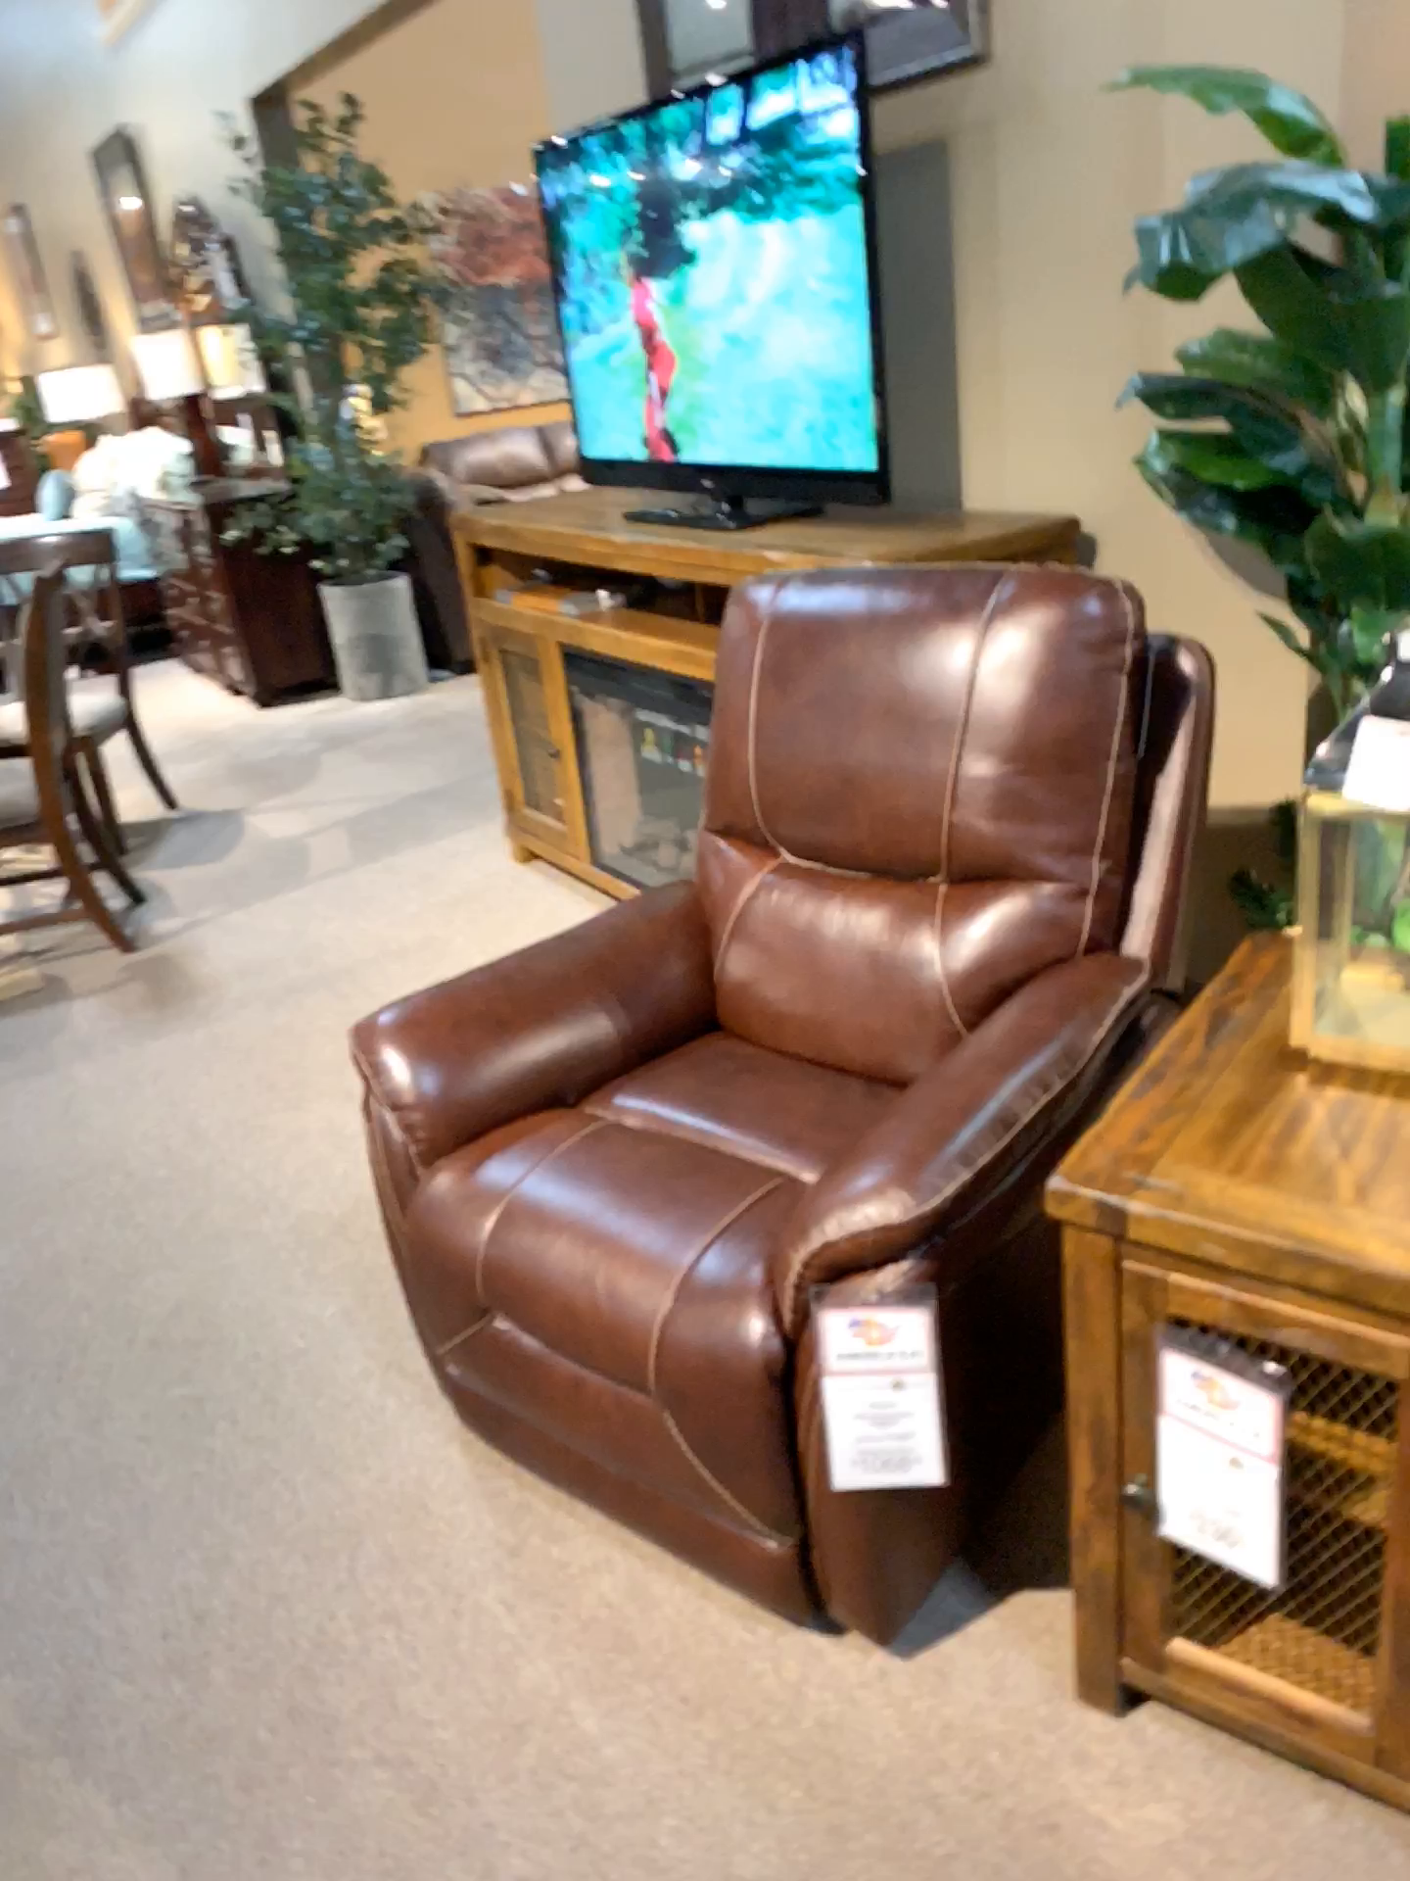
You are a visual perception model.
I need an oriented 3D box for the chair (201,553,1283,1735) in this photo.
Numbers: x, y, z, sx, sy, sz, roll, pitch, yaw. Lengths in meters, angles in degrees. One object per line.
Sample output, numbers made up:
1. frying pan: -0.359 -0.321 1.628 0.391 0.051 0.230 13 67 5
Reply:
1. chair: 0.120 0.097 1.789 0.850 0.974 0.915 12 30 38
